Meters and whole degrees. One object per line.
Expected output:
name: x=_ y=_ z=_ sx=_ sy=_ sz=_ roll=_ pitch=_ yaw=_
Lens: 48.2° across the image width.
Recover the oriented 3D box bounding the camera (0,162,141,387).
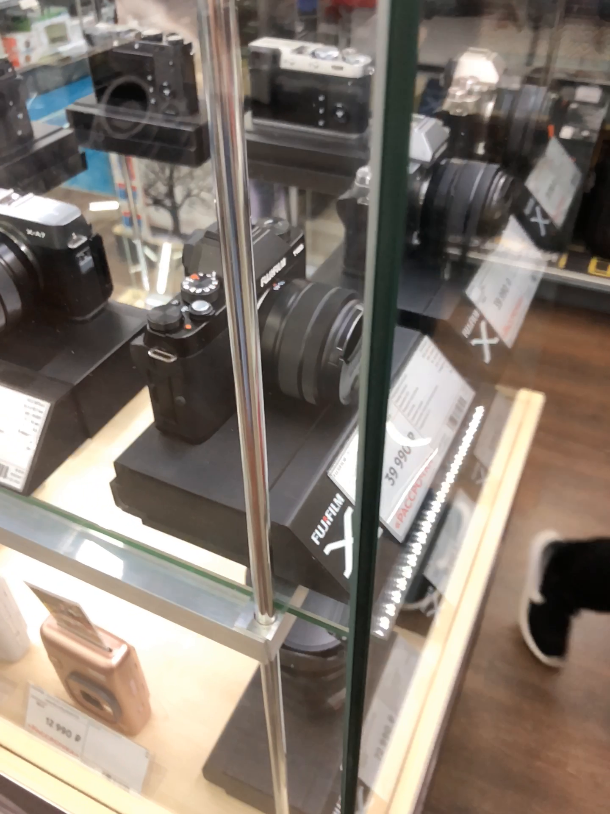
camera: x=-0.180 y=-0.083 z=0.399 sx=0.120 sy=0.069 sz=0.100 roll=16 pitch=43 yaw=18

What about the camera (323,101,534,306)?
camera: x=0.083 y=-0.142 z=0.460 sx=0.099 sy=0.078 sz=0.121 roll=18 pitch=44 yaw=20

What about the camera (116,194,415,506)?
camera: x=-0.013 y=-0.036 z=0.353 sx=0.095 sy=0.089 sz=0.121 roll=18 pitch=44 yaw=21
